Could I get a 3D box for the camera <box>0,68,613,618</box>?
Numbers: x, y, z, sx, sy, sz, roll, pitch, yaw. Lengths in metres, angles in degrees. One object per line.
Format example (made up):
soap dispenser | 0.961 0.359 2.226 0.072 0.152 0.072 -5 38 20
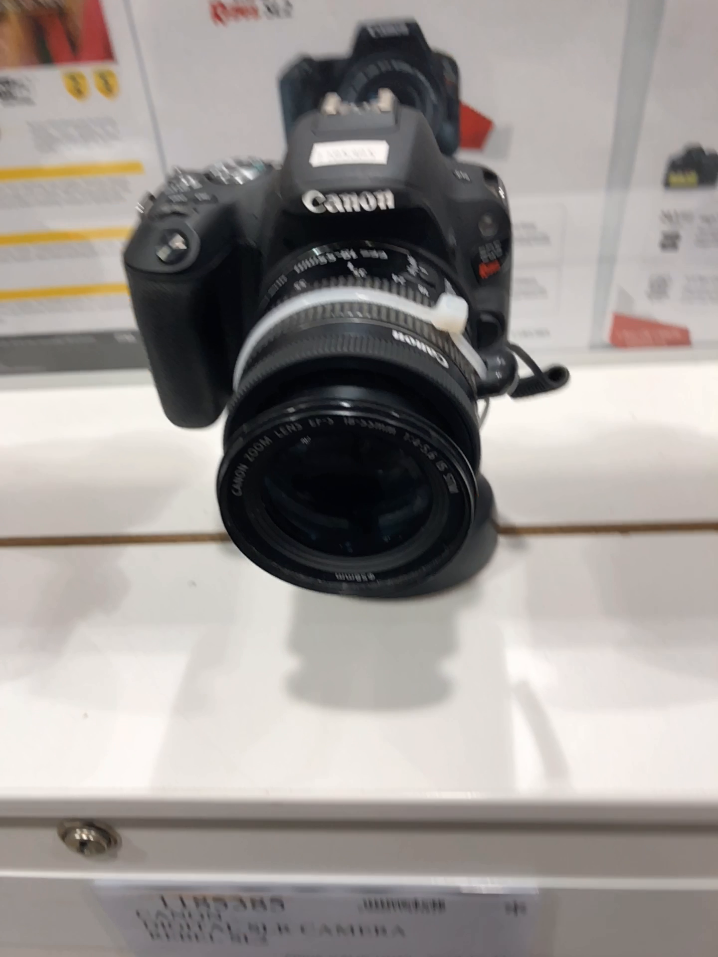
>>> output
camera | -0.015 -0.046 0.230 0.130 0.090 0.141 -3 39 4
